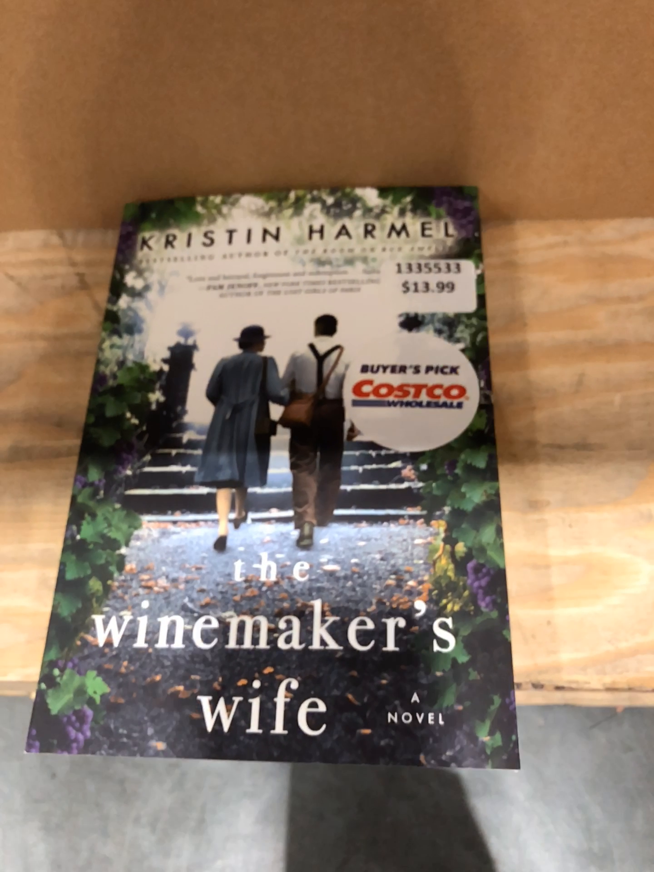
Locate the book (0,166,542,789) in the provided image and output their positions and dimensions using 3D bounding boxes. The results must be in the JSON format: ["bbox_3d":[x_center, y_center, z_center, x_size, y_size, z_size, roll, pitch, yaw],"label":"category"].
[{"bbox_3d":[-0.012,0.000,0.274,0.154,0.035,0.229,-1,62,7],"label":"book"}]
